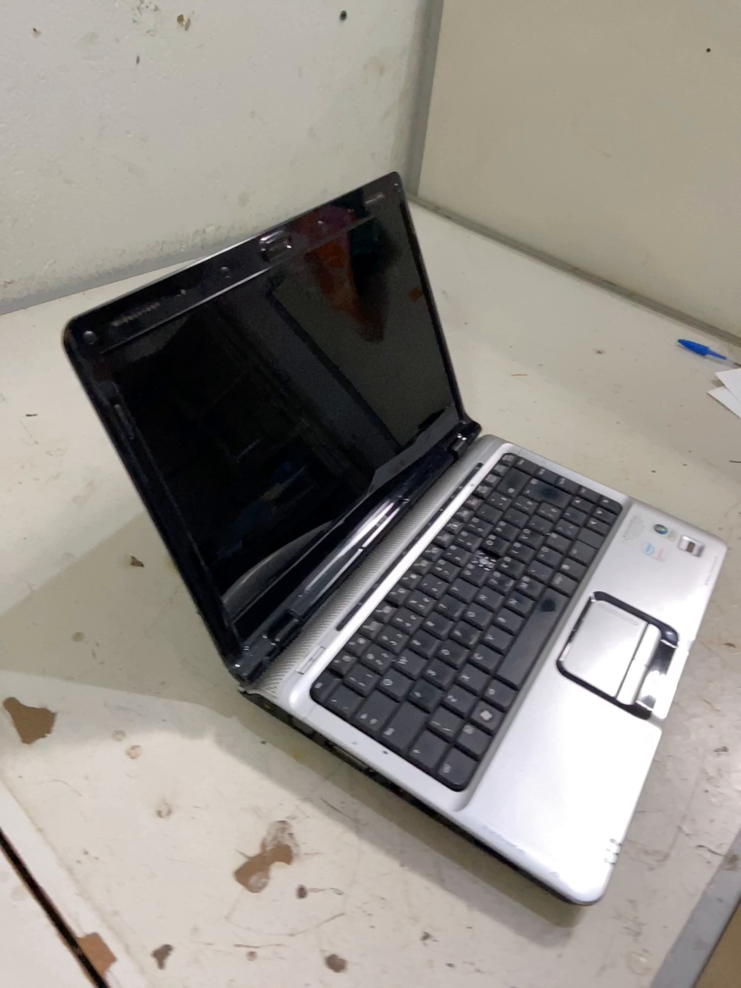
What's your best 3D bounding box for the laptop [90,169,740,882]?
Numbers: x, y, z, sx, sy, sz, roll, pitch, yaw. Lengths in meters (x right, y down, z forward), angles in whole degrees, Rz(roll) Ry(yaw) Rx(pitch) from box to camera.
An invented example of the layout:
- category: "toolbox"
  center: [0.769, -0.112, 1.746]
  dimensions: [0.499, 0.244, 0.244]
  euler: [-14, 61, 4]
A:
- category: "laptop"
  center: [0.077, -0.027, 0.493]
  dimensions: [0.334, 0.193, 0.323]
  euler: [27, 44, 20]
